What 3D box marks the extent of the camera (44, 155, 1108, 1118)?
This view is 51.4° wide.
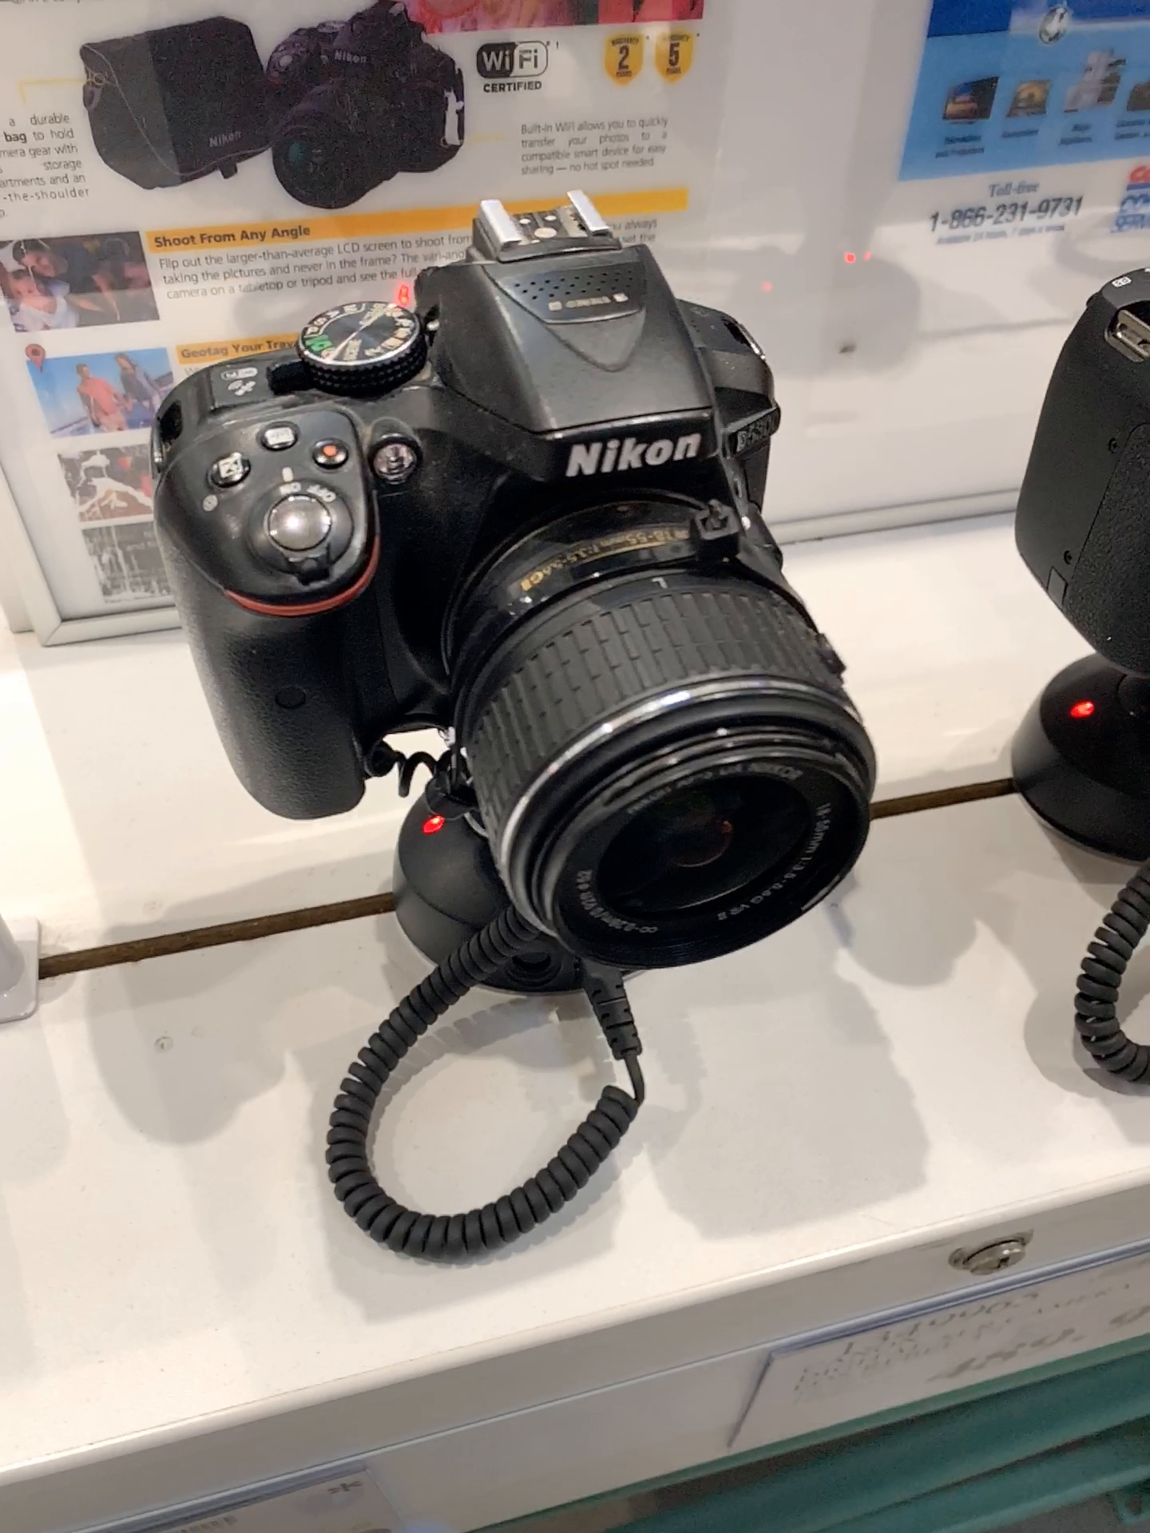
[{"bbox_3d":[-0.014,-0.036,0.204,0.120,0.069,0.141,-13,48,-14],"label":"camera"}]
